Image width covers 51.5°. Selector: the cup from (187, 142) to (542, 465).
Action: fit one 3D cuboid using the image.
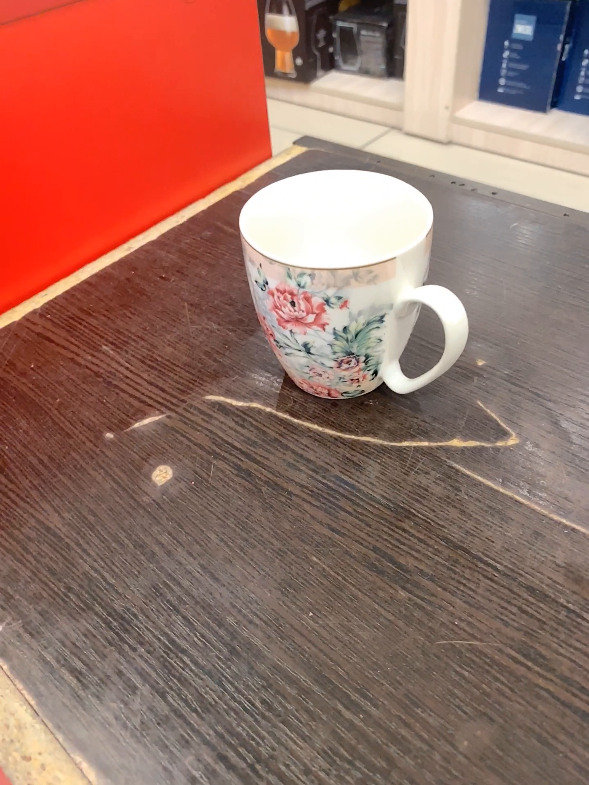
[{"bbox_3d":[0.025,-0.044,0.258,0.080,0.070,0.110,-34,51,-26],"label":"cup"}]
